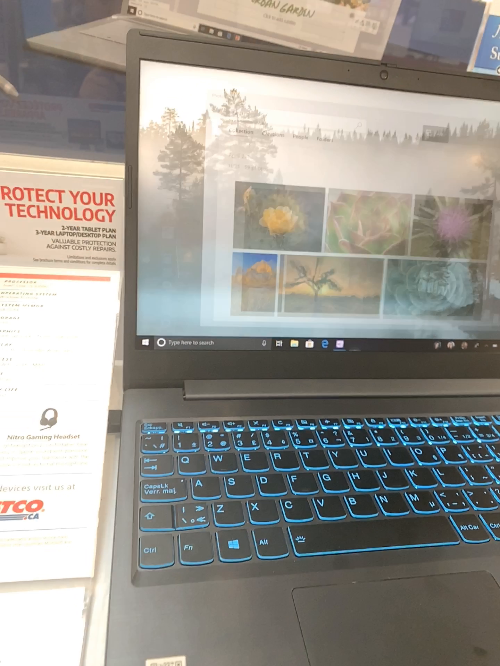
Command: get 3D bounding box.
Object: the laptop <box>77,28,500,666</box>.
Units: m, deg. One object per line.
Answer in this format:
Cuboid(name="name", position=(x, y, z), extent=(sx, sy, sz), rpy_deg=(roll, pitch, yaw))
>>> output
Cuboid(name="laptop", position=(0.106, -0.015, 0.281), extent=(0.340, 0.214, 0.330), rpy_deg=(1, 30, -13))
